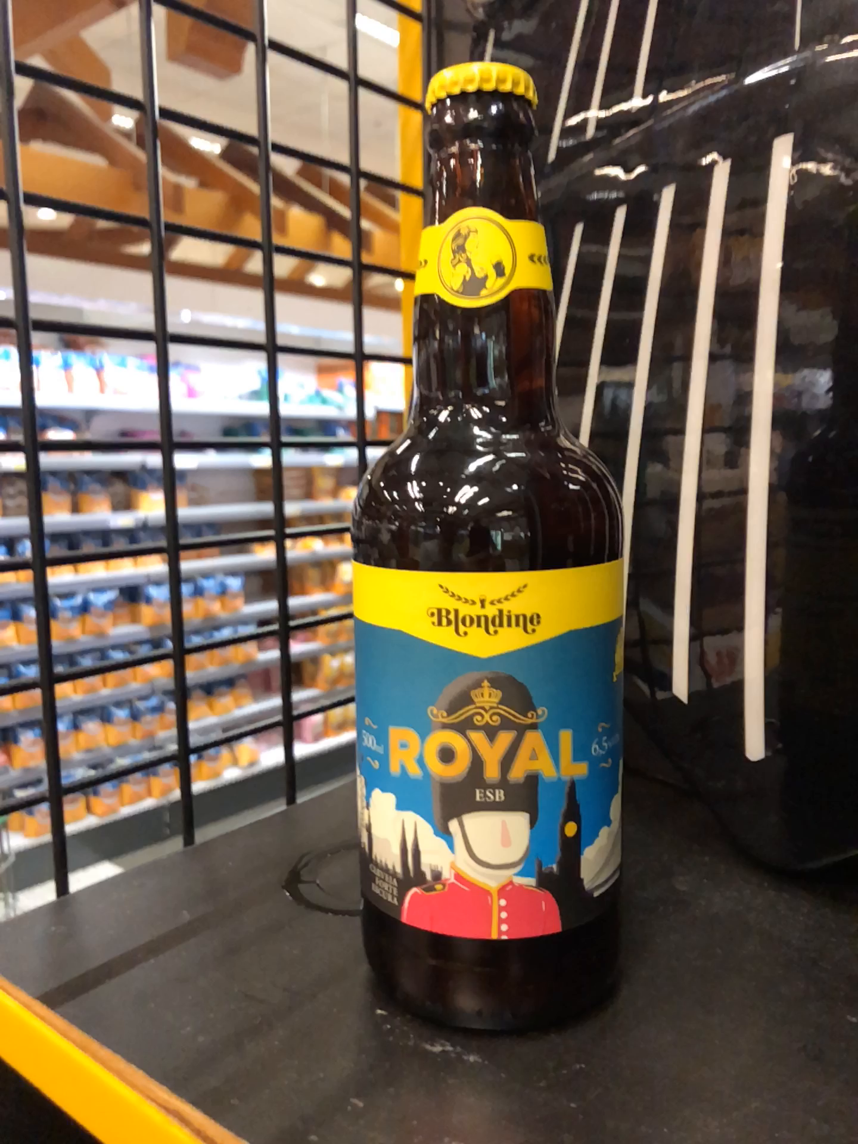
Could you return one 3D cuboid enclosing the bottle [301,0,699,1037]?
[{"bbox_3d":[0.017,-0.018,0.241,0.080,0.239,0.070,0,7,5],"label":"bottle"}]
